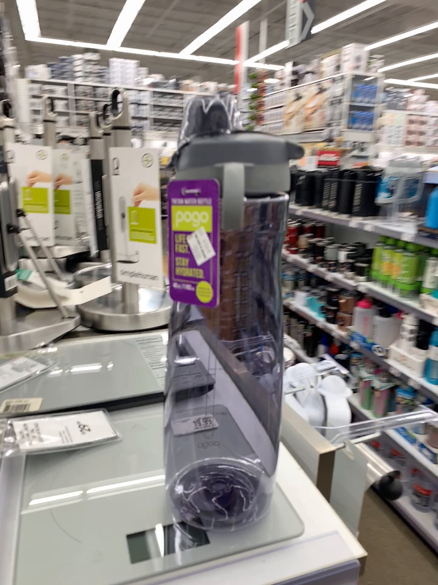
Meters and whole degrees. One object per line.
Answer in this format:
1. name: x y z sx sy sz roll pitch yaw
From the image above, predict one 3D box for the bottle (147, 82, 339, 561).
1. bottle: 0.003 0.024 0.331 0.100 0.309 0.100 2 16 -1
